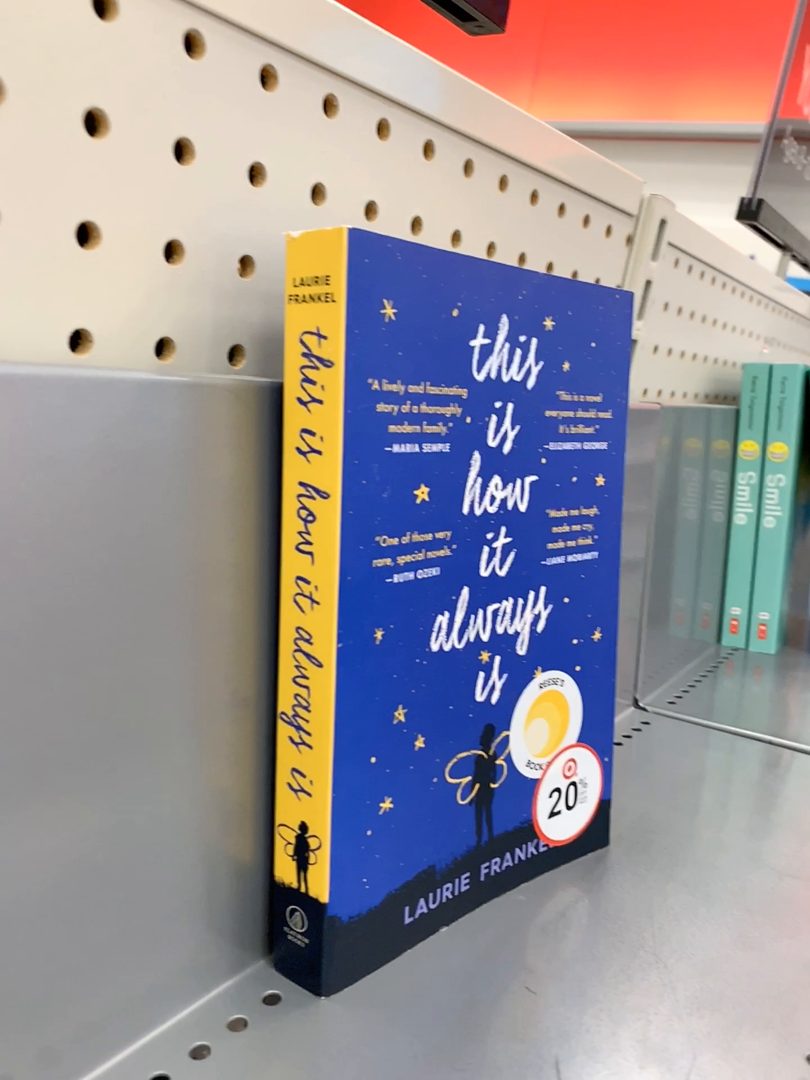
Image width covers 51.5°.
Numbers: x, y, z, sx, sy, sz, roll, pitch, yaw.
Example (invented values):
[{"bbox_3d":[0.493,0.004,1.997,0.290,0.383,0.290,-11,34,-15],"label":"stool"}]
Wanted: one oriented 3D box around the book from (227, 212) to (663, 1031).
[{"bbox_3d":[0.018,0.020,0.273,0.140,0.209,0.044,-4,11,-43],"label":"book"}]
